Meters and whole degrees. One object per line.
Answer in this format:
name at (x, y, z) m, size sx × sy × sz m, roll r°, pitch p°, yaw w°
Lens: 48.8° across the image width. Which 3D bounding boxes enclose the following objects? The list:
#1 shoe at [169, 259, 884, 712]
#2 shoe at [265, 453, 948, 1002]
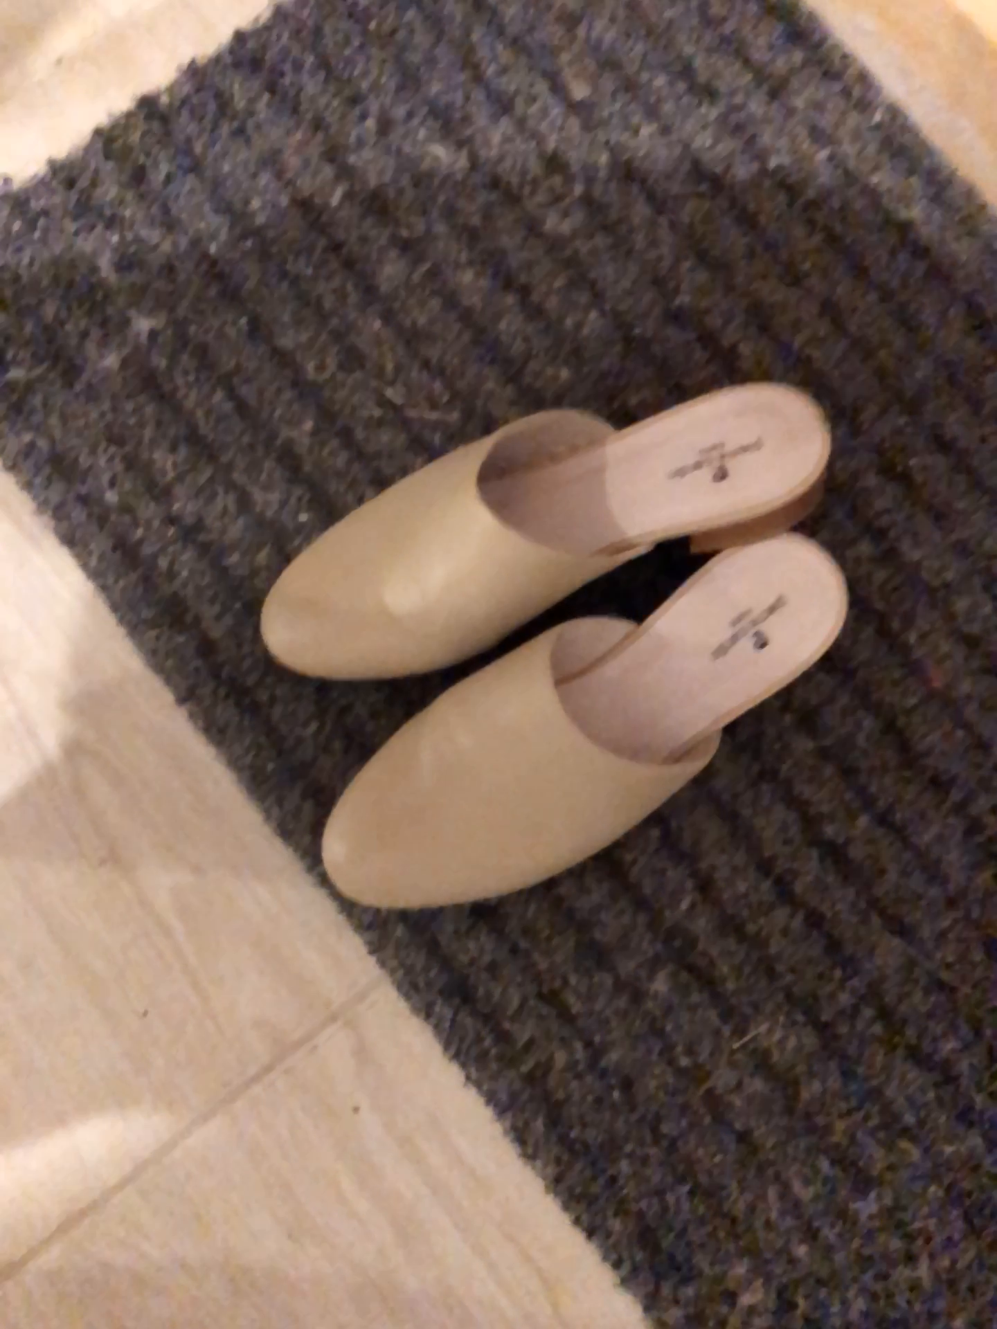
shoe at (0.011, -0.068, 0.443) m, size 0.250 × 0.070 × 0.090 m, roll -19°, pitch 82°, yaw -3°
shoe at (0.042, 0.025, 0.451) m, size 0.250 × 0.070 × 0.090 m, roll -32°, pitch 83°, yaw -5°
